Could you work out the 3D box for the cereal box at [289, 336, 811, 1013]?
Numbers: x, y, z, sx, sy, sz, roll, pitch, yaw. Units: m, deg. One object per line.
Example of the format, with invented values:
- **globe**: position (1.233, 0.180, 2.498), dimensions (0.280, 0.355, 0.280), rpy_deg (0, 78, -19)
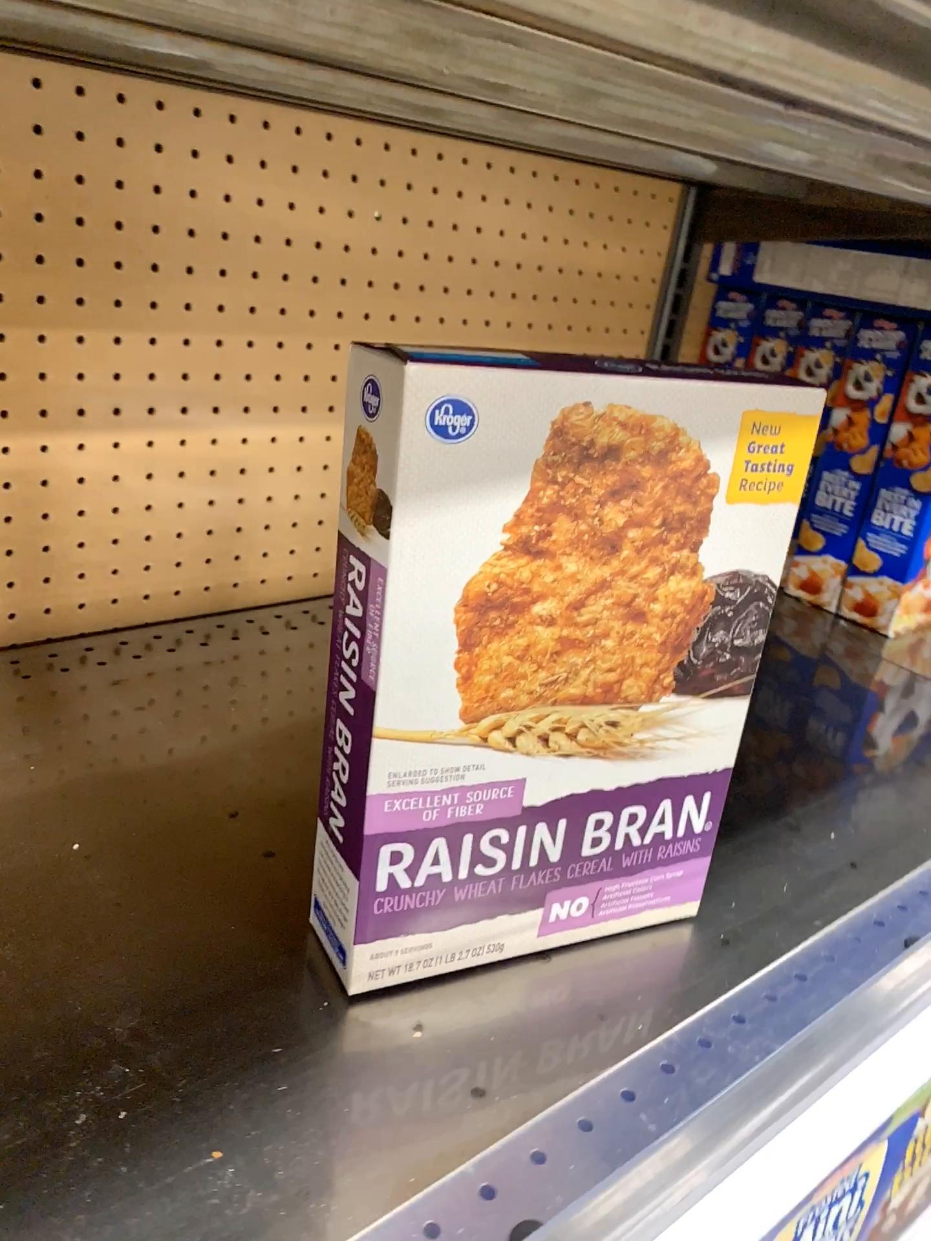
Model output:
- **cereal box**: position (0.030, 0.025, 0.419), dimensions (0.190, 0.269, 0.050), rpy_deg (-4, 24, -27)
